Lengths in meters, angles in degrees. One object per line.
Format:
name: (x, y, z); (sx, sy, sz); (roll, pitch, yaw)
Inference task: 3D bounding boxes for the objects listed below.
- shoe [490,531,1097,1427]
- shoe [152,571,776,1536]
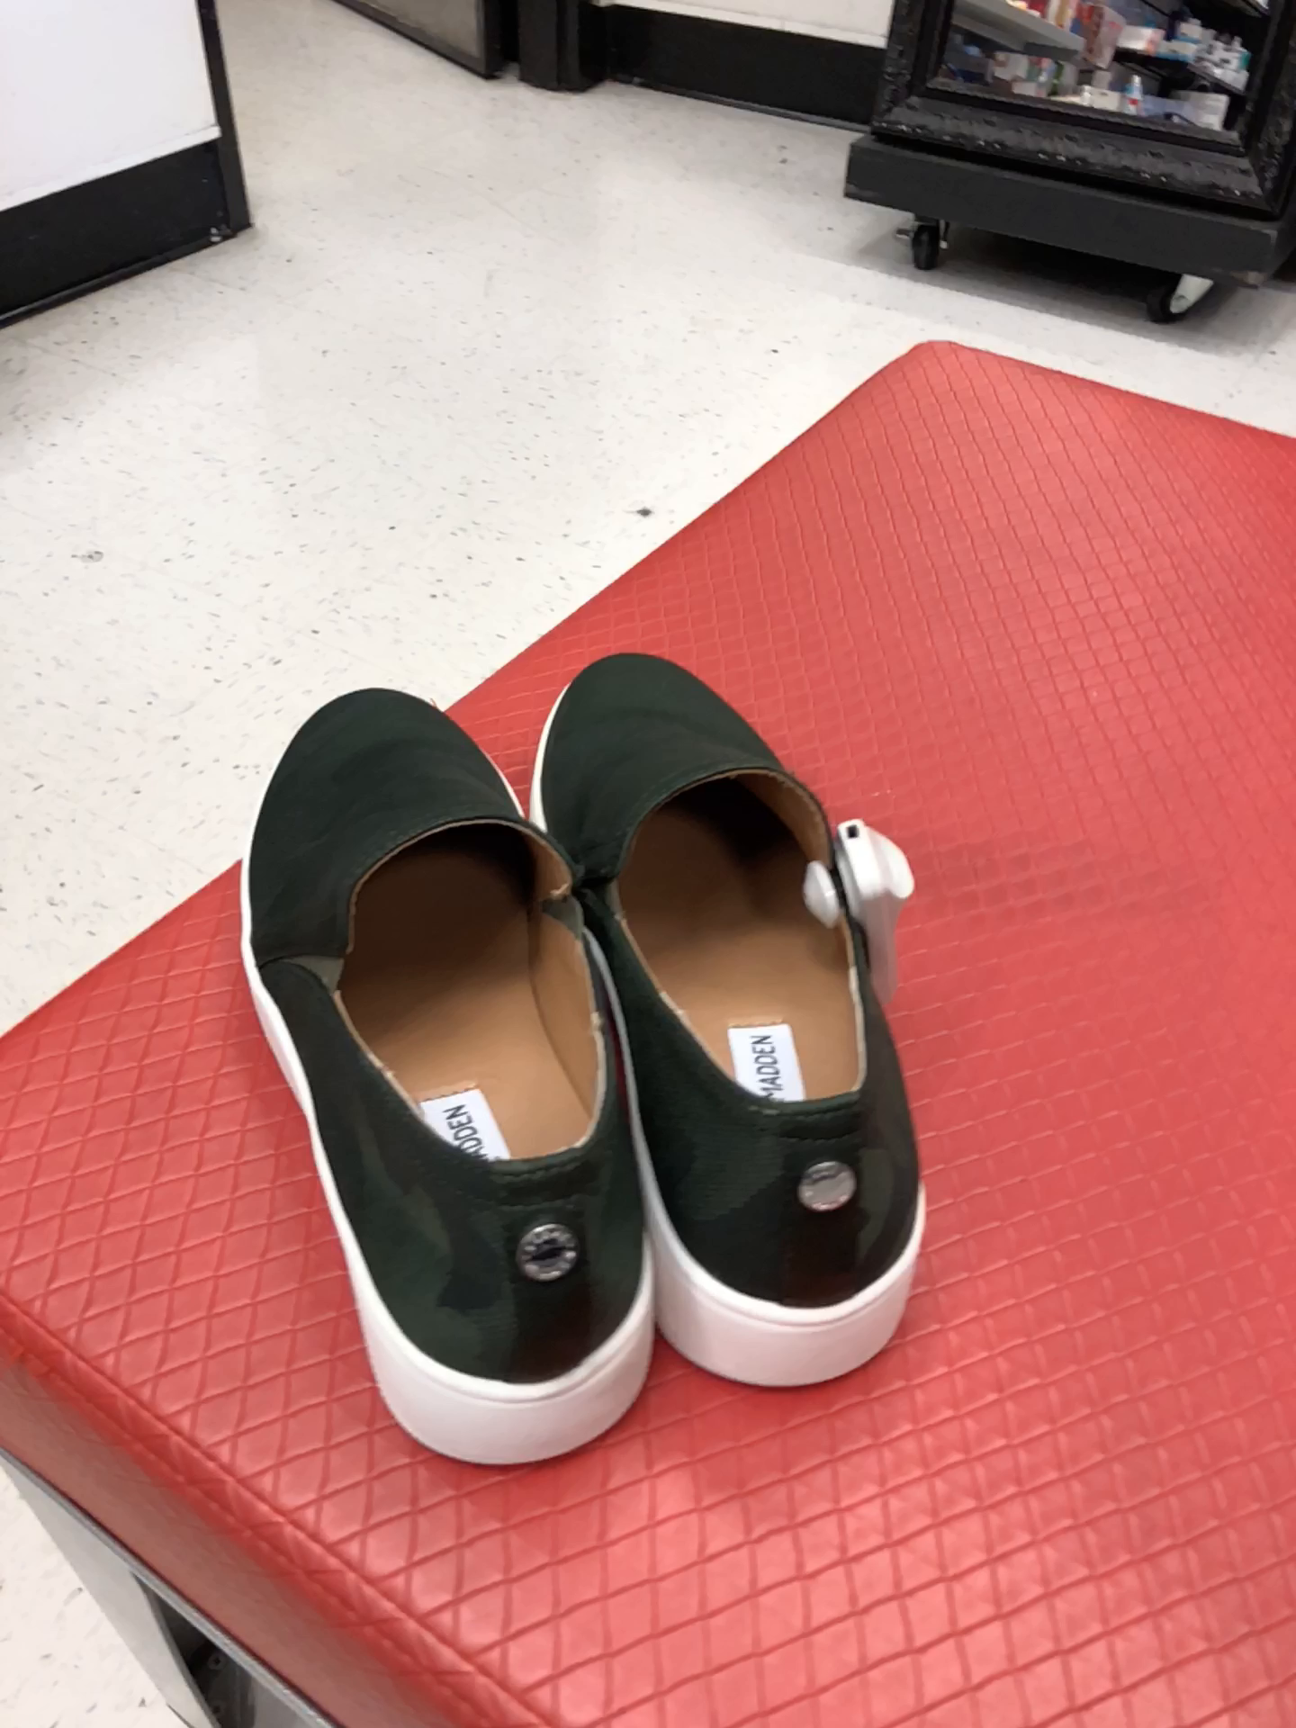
shoe: (0.020, 0.011, 0.403); (0.088, 0.090, 0.250); (-8, 42, -10)
shoe: (-0.062, 0.028, 0.381); (0.091, 0.090, 0.244); (-14, 44, -16)
